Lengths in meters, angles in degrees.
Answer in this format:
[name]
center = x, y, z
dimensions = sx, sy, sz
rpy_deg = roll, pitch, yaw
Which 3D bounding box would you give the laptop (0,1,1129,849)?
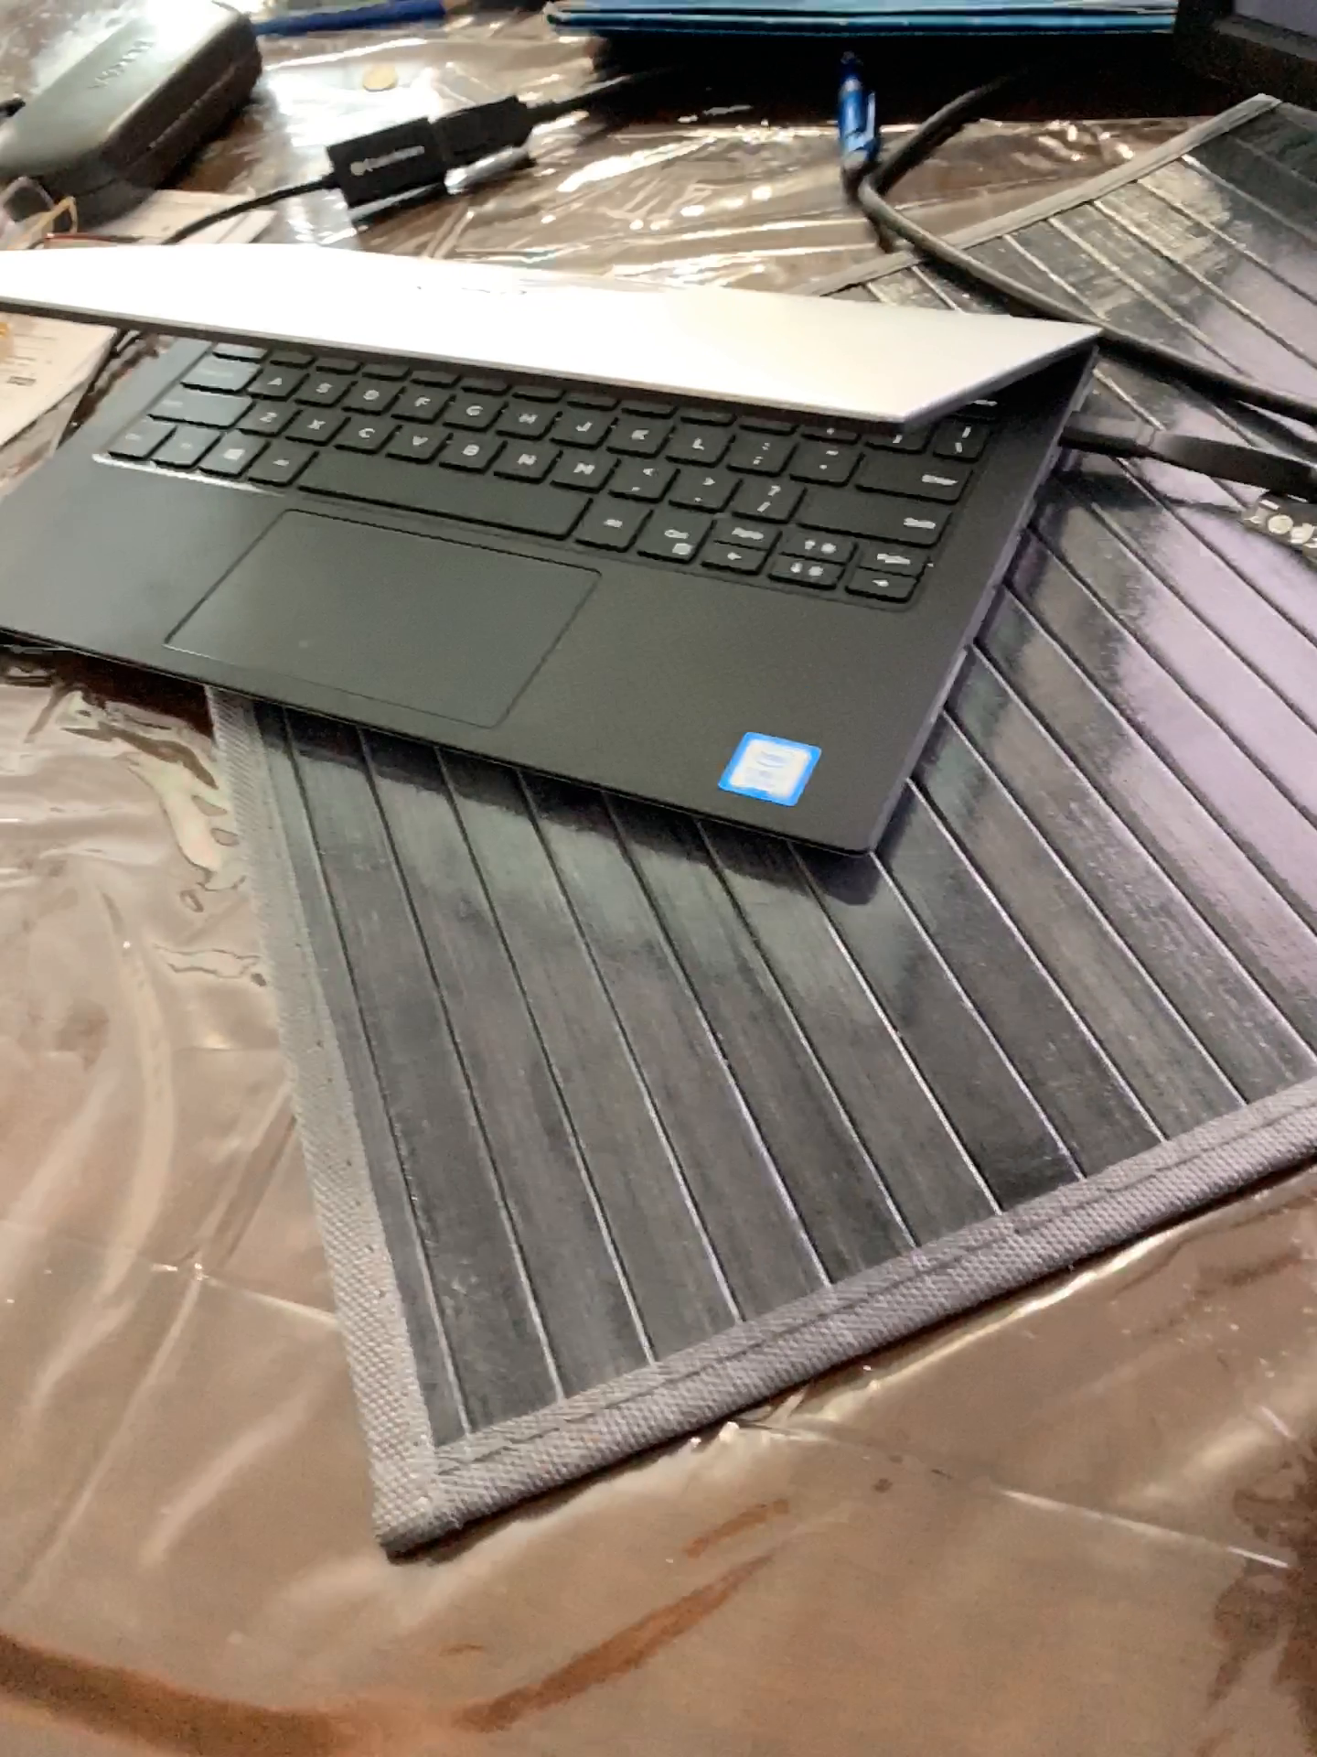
[laptop]
center = -0.055, -0.137, 0.348
dimensions = 0.290, 0.081, 0.183
rpy_deg = 15, 57, 21
